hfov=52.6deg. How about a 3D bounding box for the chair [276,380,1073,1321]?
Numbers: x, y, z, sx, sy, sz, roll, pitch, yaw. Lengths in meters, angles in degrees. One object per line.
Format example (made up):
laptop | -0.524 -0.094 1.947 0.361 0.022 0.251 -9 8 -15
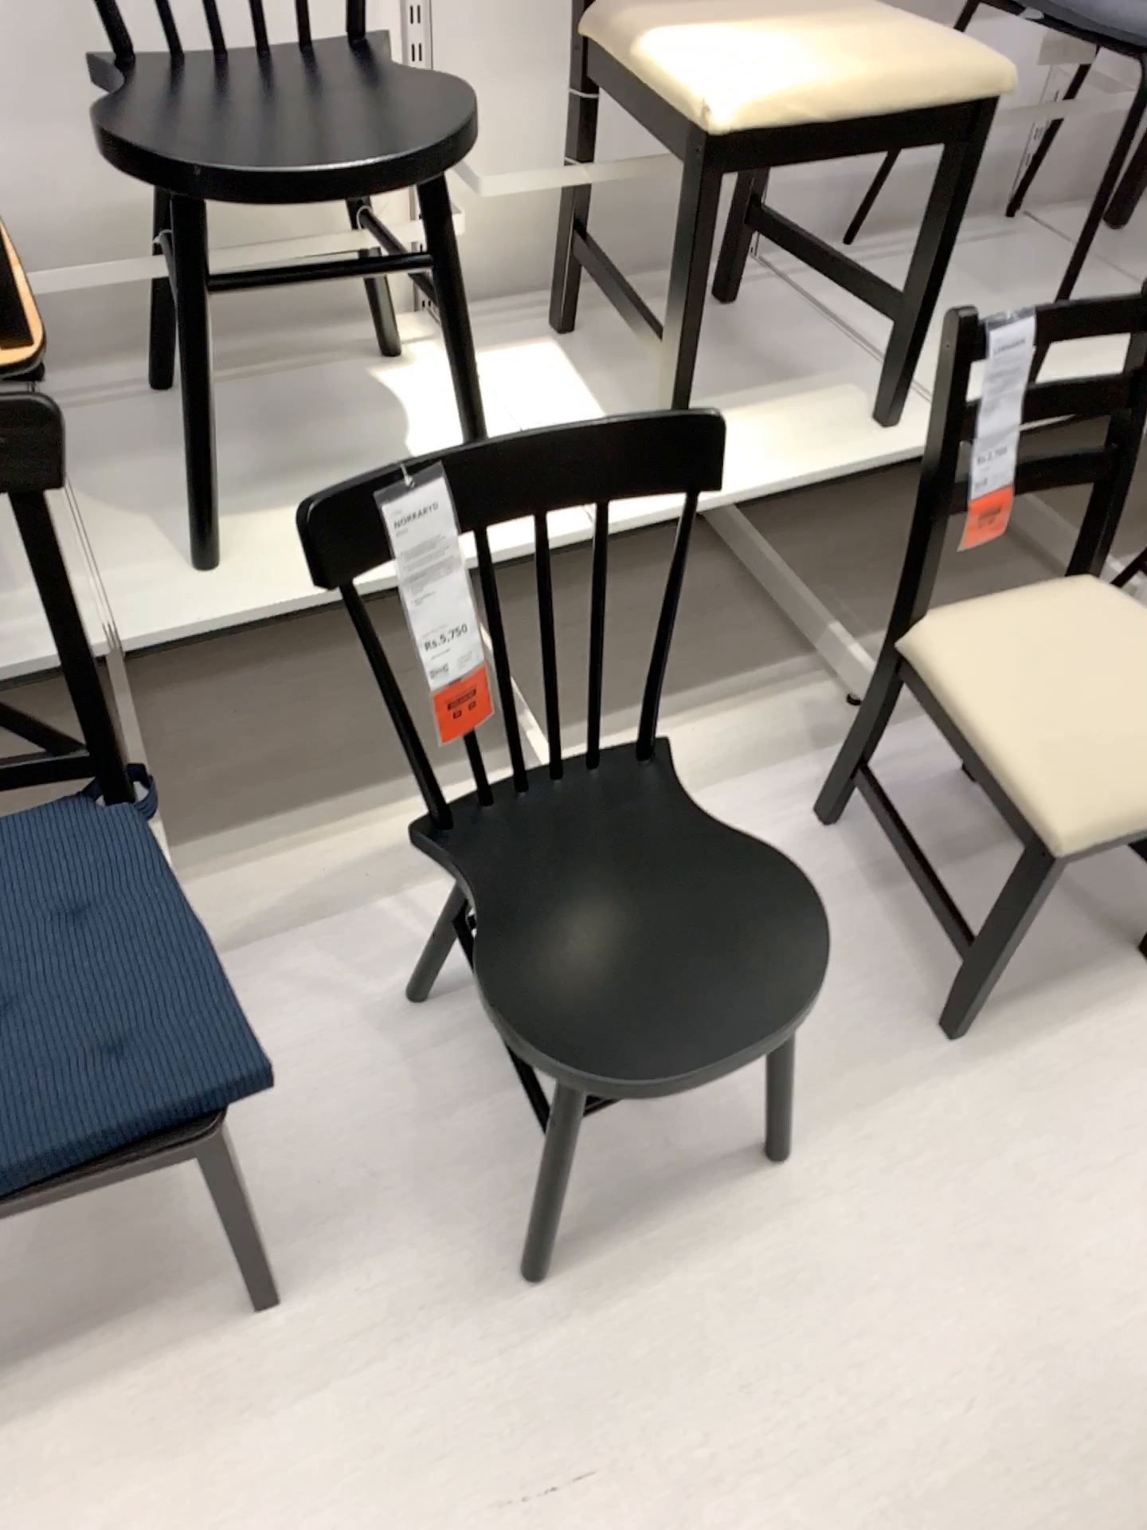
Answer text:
chair | 0.035 0.114 1.252 0.470 0.787 0.522 -18 51 -20
